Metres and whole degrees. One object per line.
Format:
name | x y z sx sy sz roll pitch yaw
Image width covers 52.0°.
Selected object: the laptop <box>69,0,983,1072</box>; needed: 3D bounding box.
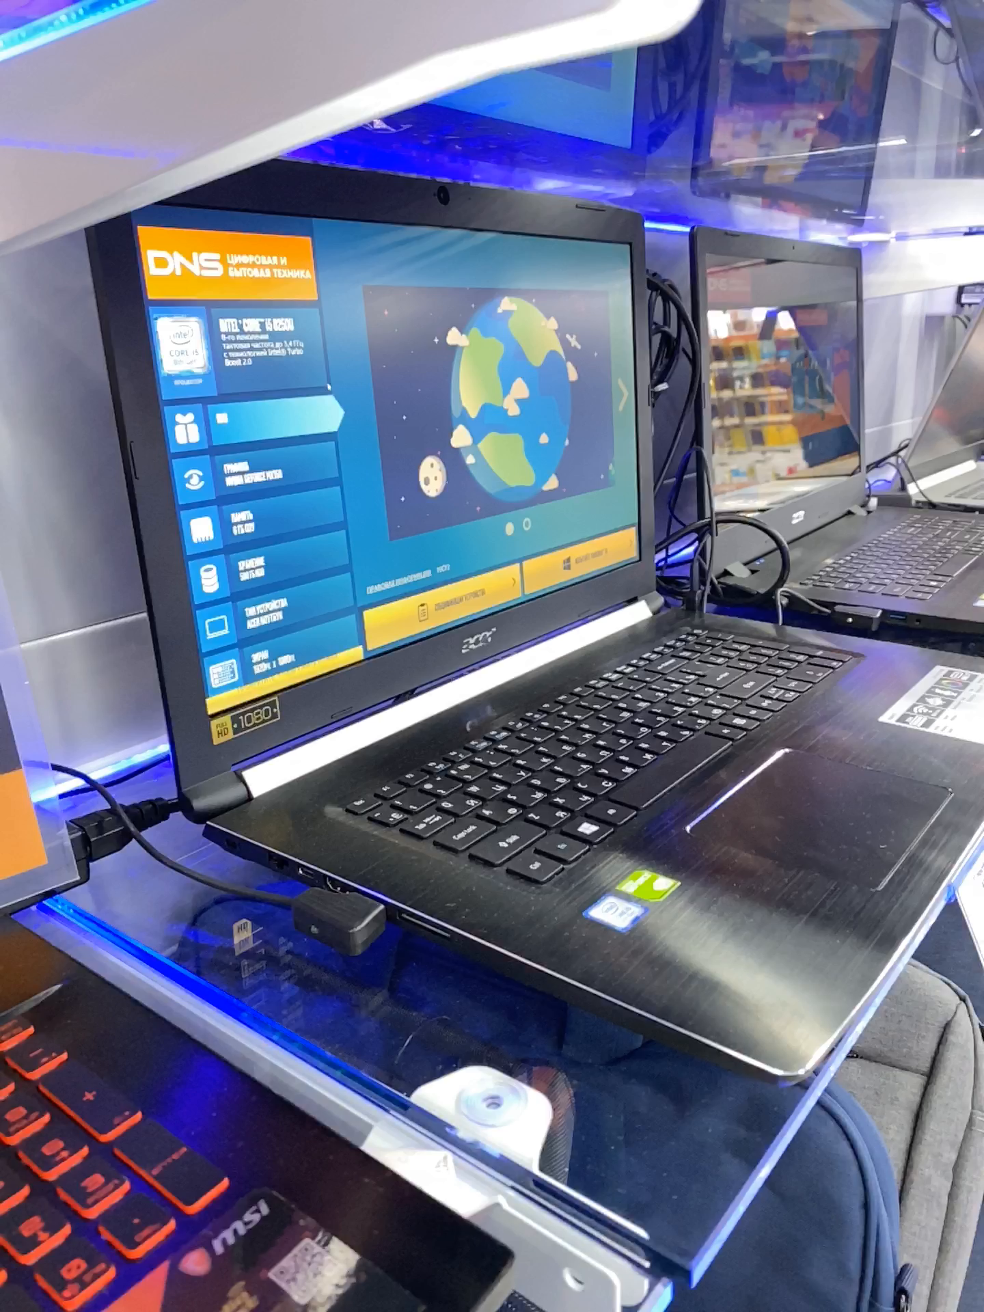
laptop | 0.096 -0.094 0.494 0.311 0.278 0.424 12 21 36
